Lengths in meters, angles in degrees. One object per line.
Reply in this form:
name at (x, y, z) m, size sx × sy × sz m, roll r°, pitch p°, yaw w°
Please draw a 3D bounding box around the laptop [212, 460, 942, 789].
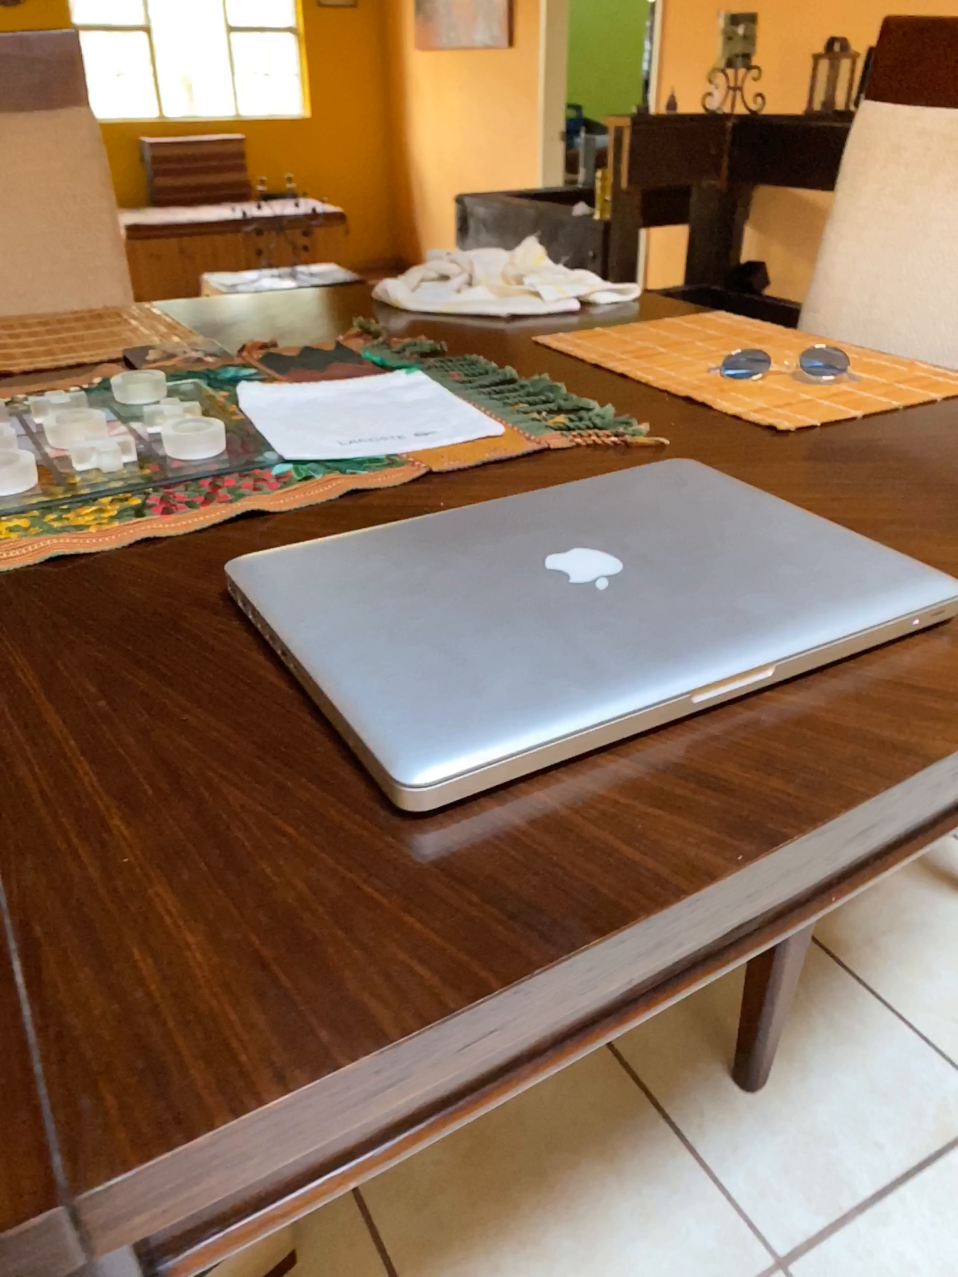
laptop at (0.048, -0.034, 0.539) m, size 0.324 × 0.002 × 0.232 m, roll -17°, pitch 34°, yaw -26°
